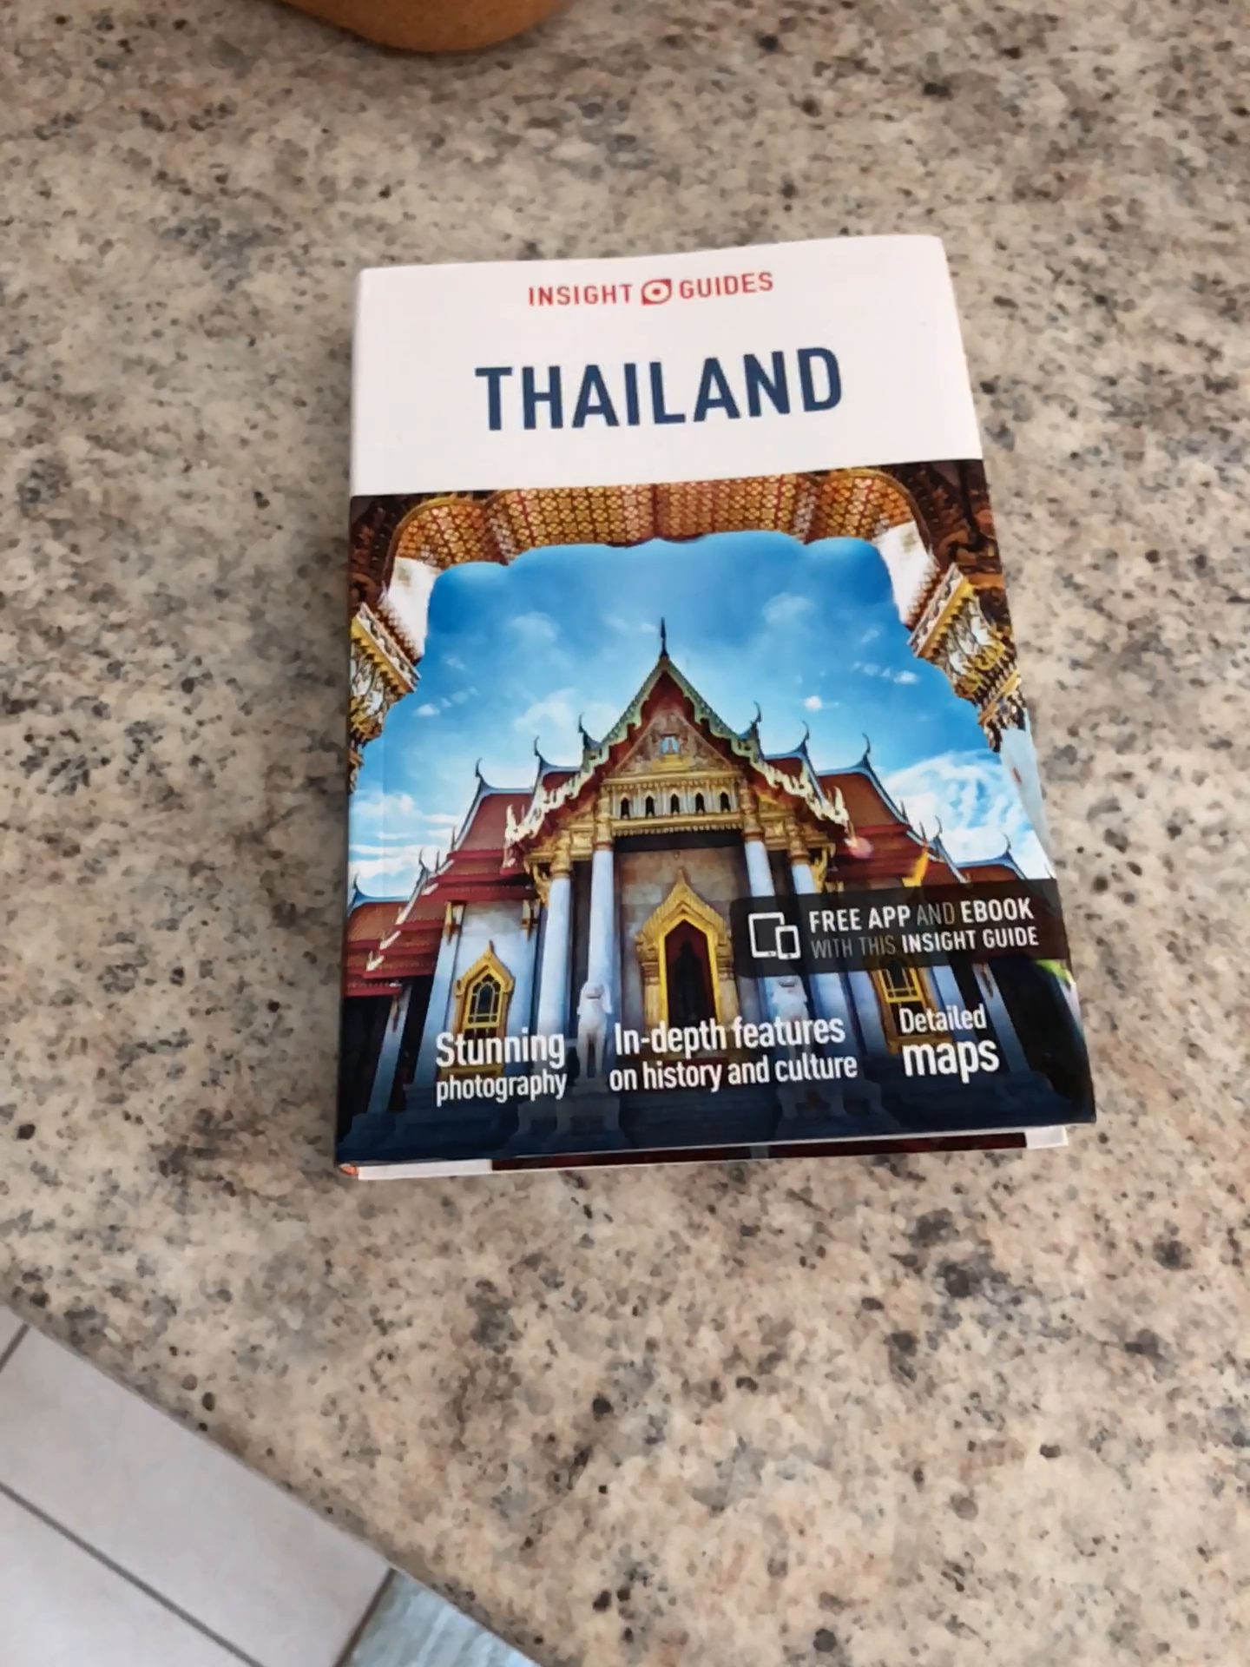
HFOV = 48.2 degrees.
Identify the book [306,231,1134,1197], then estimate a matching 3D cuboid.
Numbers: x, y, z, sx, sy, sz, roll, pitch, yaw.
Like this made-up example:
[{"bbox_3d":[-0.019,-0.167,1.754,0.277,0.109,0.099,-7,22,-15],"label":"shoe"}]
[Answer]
[{"bbox_3d":[0.014,-0.041,0.338,0.164,0.030,0.240,-3,66,0],"label":"book"}]
